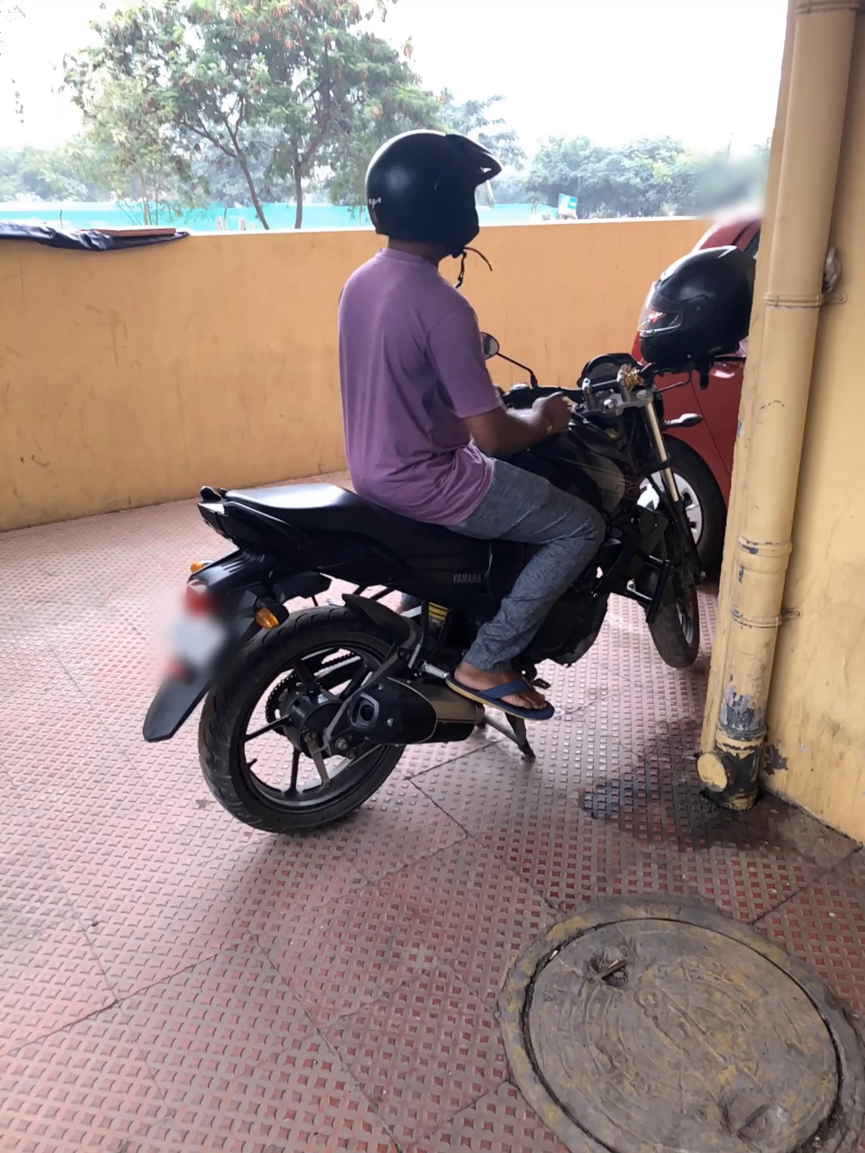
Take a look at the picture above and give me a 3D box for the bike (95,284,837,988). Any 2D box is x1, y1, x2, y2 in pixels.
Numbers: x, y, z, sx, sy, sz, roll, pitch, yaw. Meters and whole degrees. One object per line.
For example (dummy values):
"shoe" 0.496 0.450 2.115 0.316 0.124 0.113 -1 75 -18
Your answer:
"bike" 0.208 -0.090 2.643 1.910 1.155 0.855 -21 30 -39
